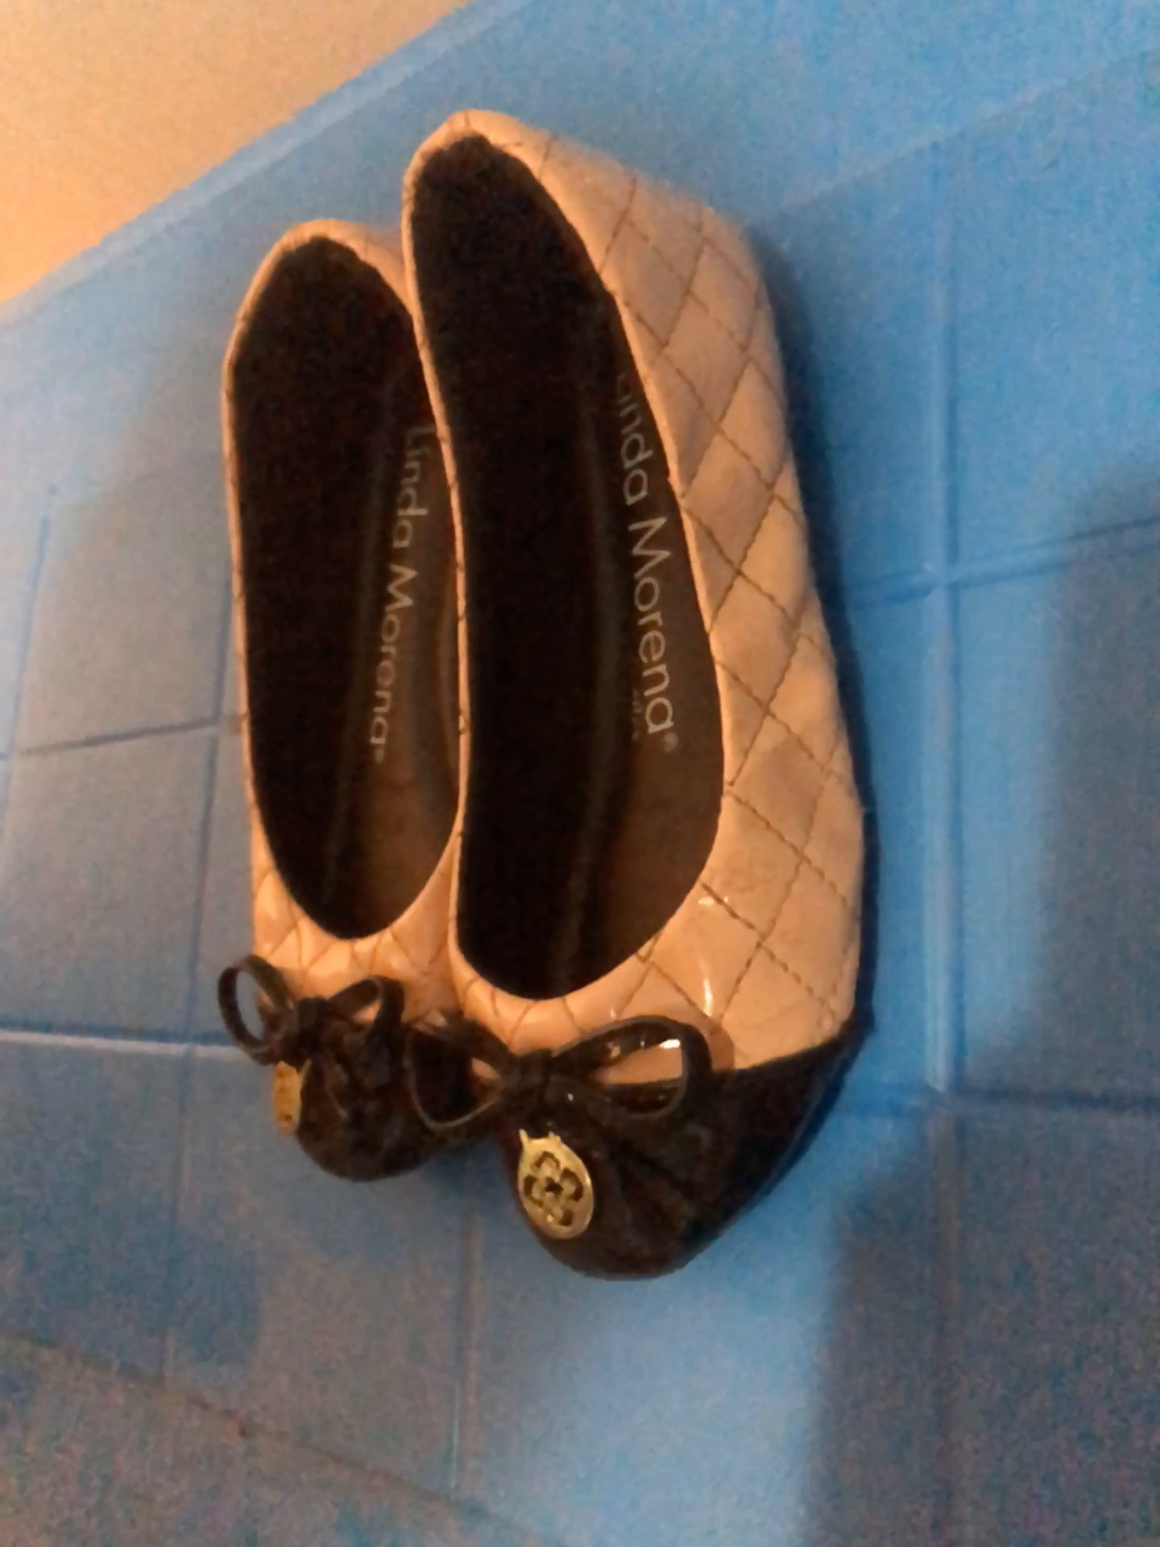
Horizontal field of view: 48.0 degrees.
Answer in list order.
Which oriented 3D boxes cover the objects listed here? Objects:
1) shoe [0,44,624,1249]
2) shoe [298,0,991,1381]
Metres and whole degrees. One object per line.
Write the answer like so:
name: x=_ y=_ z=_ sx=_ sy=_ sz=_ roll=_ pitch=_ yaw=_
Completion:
shoe: x=-0.047 y=-0.018 z=0.253 sx=0.070 sy=0.080 sz=0.190 roll=-5 pitch=79 yaw=39
shoe: x=0.014 y=-0.019 z=0.211 sx=0.070 sy=0.080 sz=0.190 roll=-6 pitch=78 yaw=39
